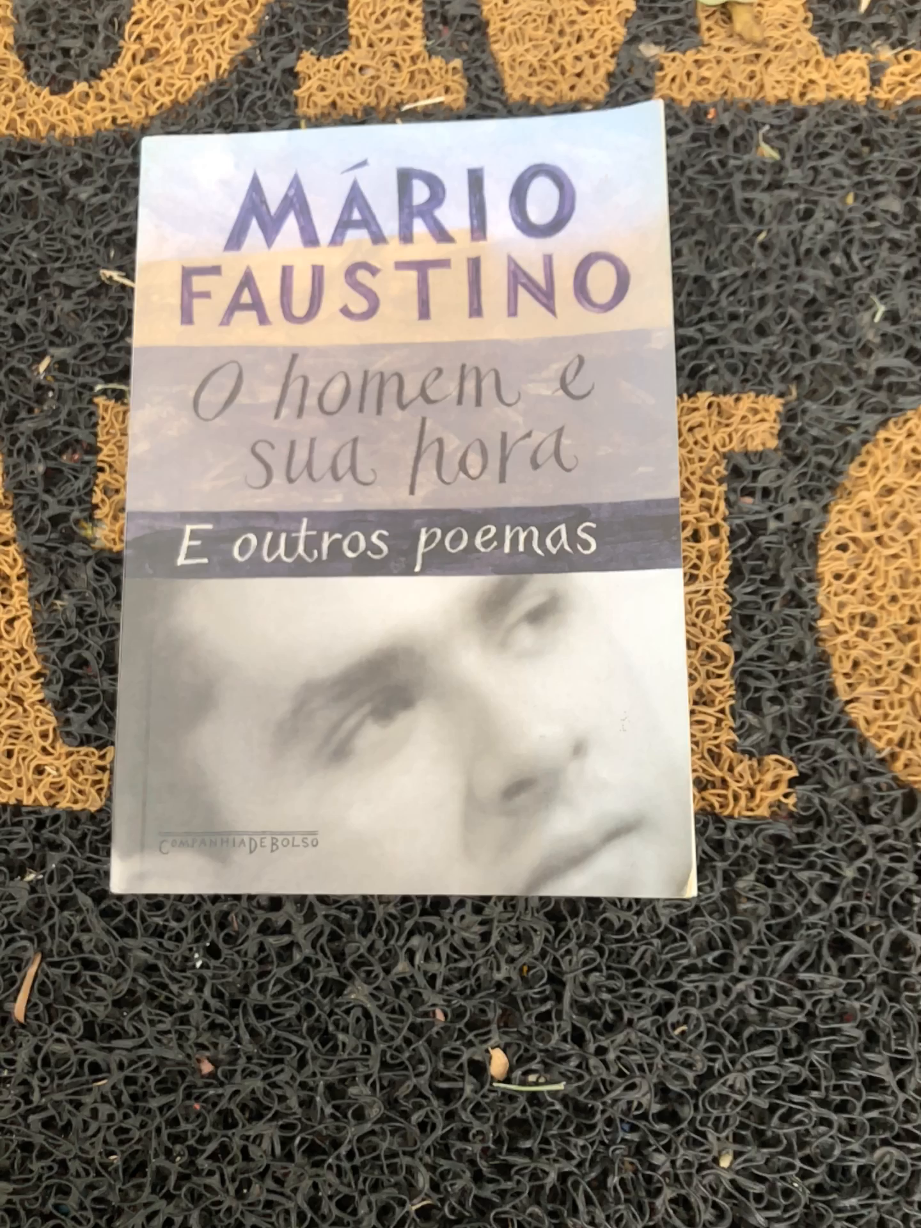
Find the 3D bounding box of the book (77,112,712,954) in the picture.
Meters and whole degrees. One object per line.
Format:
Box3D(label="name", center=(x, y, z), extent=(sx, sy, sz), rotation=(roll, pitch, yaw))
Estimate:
Box3D(label="book", center=(-0.013, -0.020, 0.224), extent=(0.124, 0.020, 0.174), rotation=(-1, 81, 5))
